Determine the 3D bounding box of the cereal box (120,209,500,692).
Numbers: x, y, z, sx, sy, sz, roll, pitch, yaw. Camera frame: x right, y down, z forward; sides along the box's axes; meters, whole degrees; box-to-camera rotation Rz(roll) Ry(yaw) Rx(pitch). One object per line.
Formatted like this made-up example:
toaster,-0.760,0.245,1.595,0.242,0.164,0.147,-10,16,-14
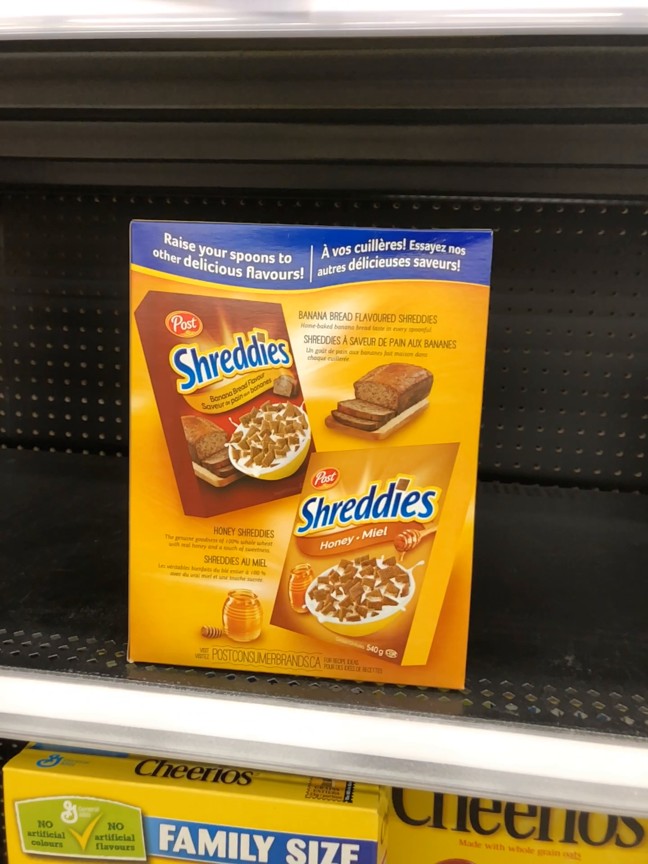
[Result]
cereal box,-0.012,0.009,0.442,0.210,0.269,0.060,3,7,5
